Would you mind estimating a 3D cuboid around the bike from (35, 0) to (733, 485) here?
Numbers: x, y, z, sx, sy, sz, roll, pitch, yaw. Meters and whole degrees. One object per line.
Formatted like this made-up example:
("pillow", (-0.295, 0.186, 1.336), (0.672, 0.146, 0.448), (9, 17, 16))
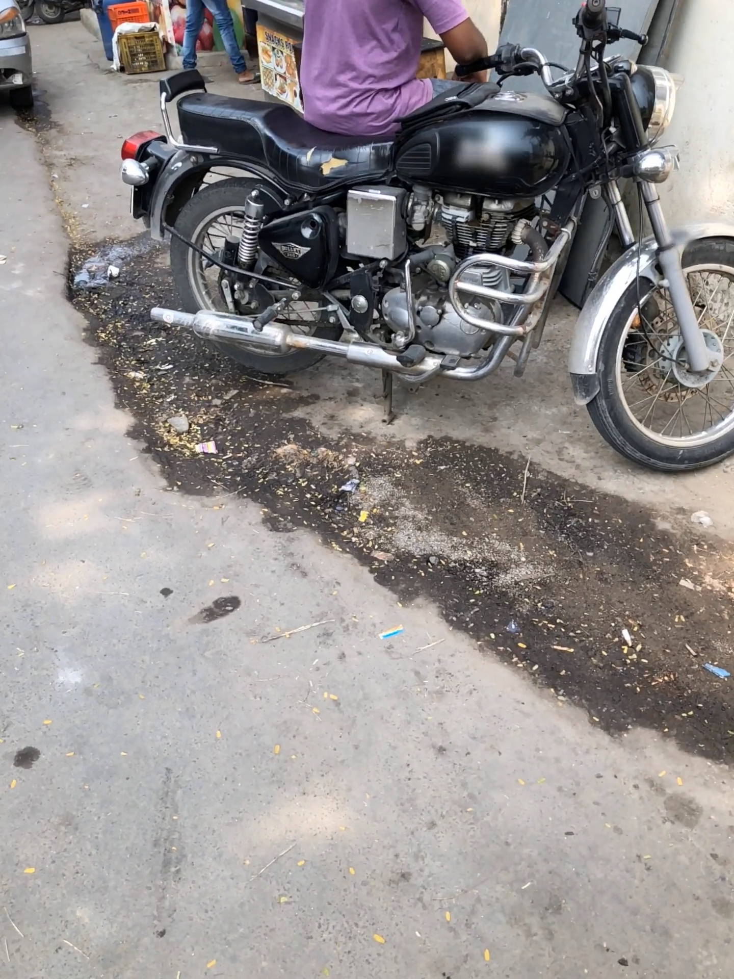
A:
("bike", (0.276, -0.852, 2.411), (1.918, 1.173, 0.844), (10, 36, 17))
